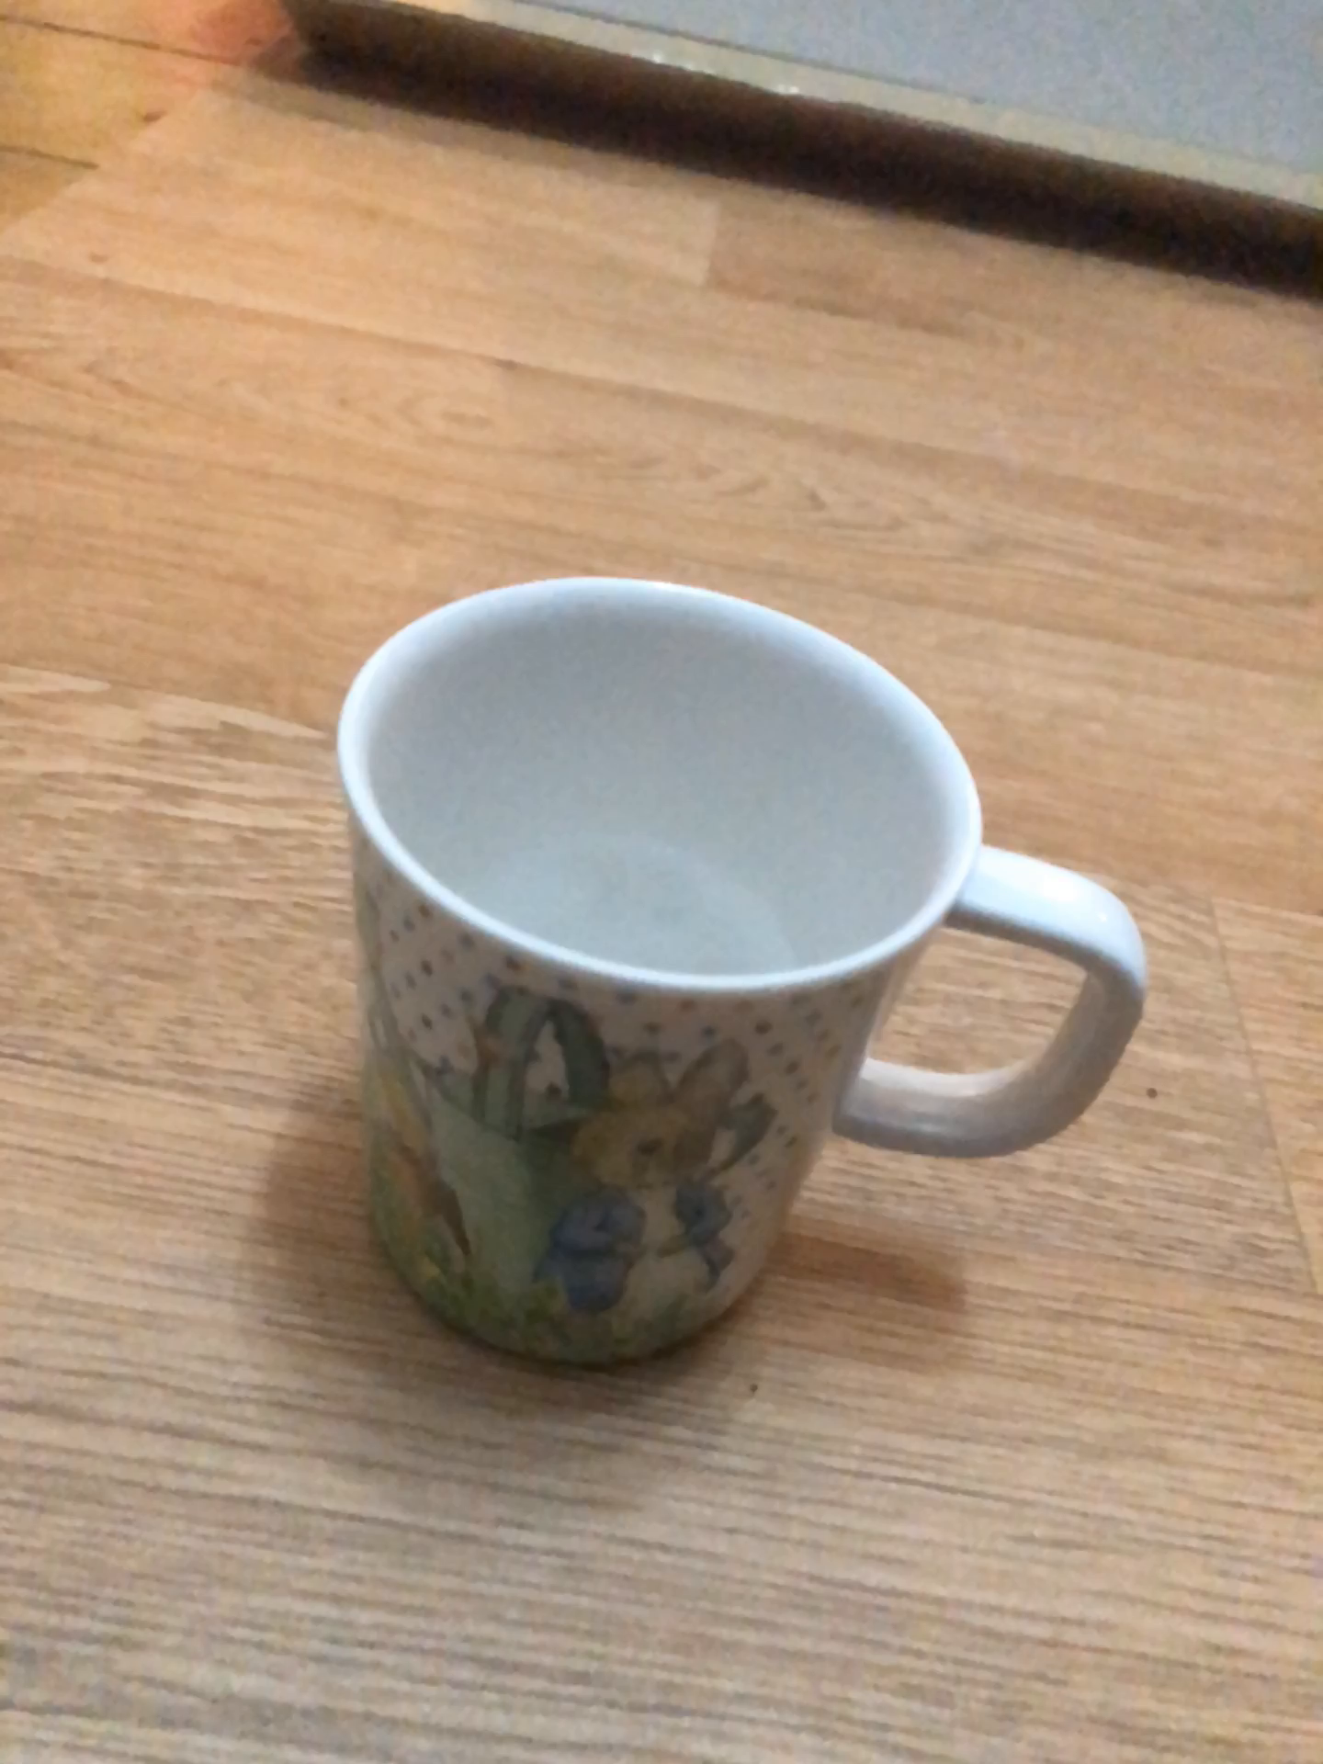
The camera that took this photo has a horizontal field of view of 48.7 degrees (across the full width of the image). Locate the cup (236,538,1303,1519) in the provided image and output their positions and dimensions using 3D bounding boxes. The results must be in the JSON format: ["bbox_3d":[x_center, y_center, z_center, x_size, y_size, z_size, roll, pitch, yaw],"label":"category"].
[{"bbox_3d":[0.011,0.019,0.203,0.110,0.080,0.080,13,41,1],"label":"cup"}]
